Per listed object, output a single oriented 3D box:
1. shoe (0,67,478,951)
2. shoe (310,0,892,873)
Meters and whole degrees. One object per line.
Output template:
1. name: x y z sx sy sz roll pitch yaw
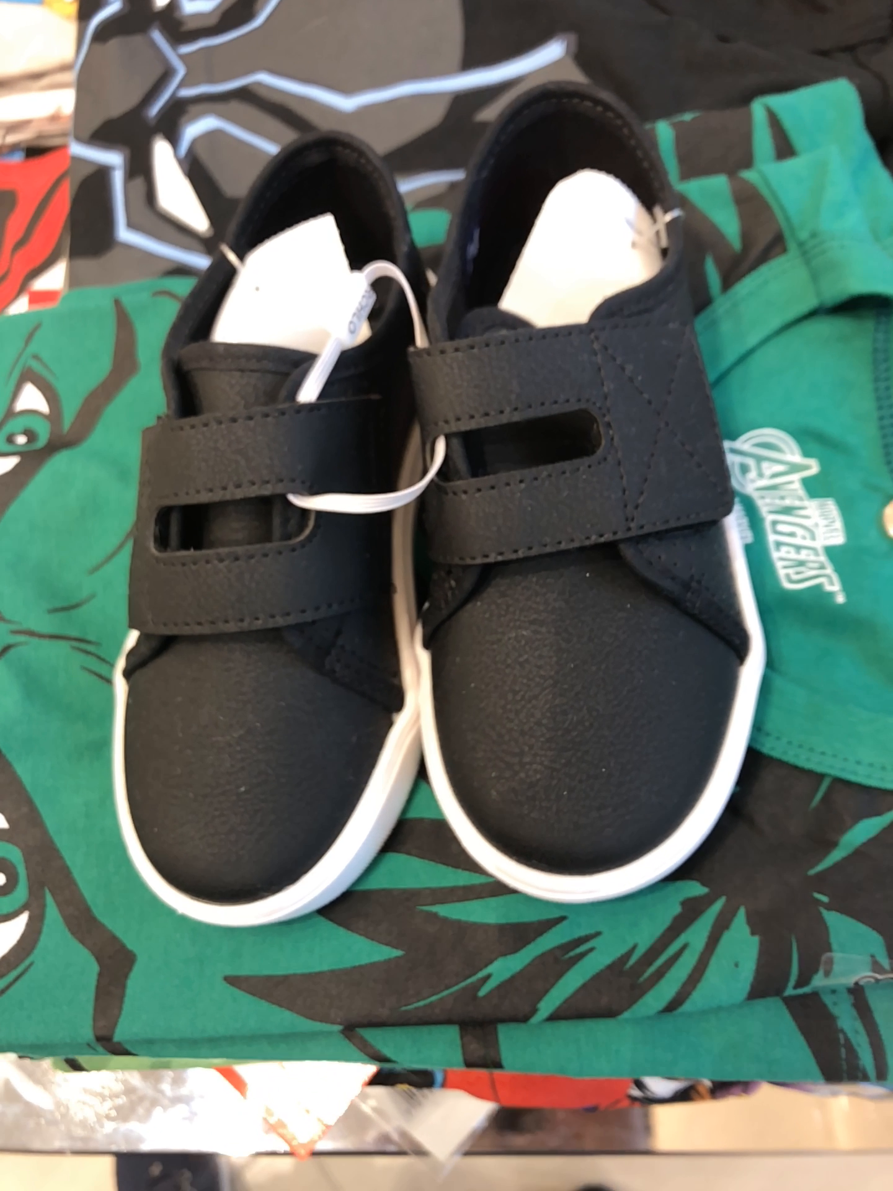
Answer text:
1. shoe: -0.043 -0.015 0.228 0.080 0.090 0.170 4 72 6
2. shoe: 0.026 -0.029 0.226 0.090 0.090 0.170 -2 71 4
